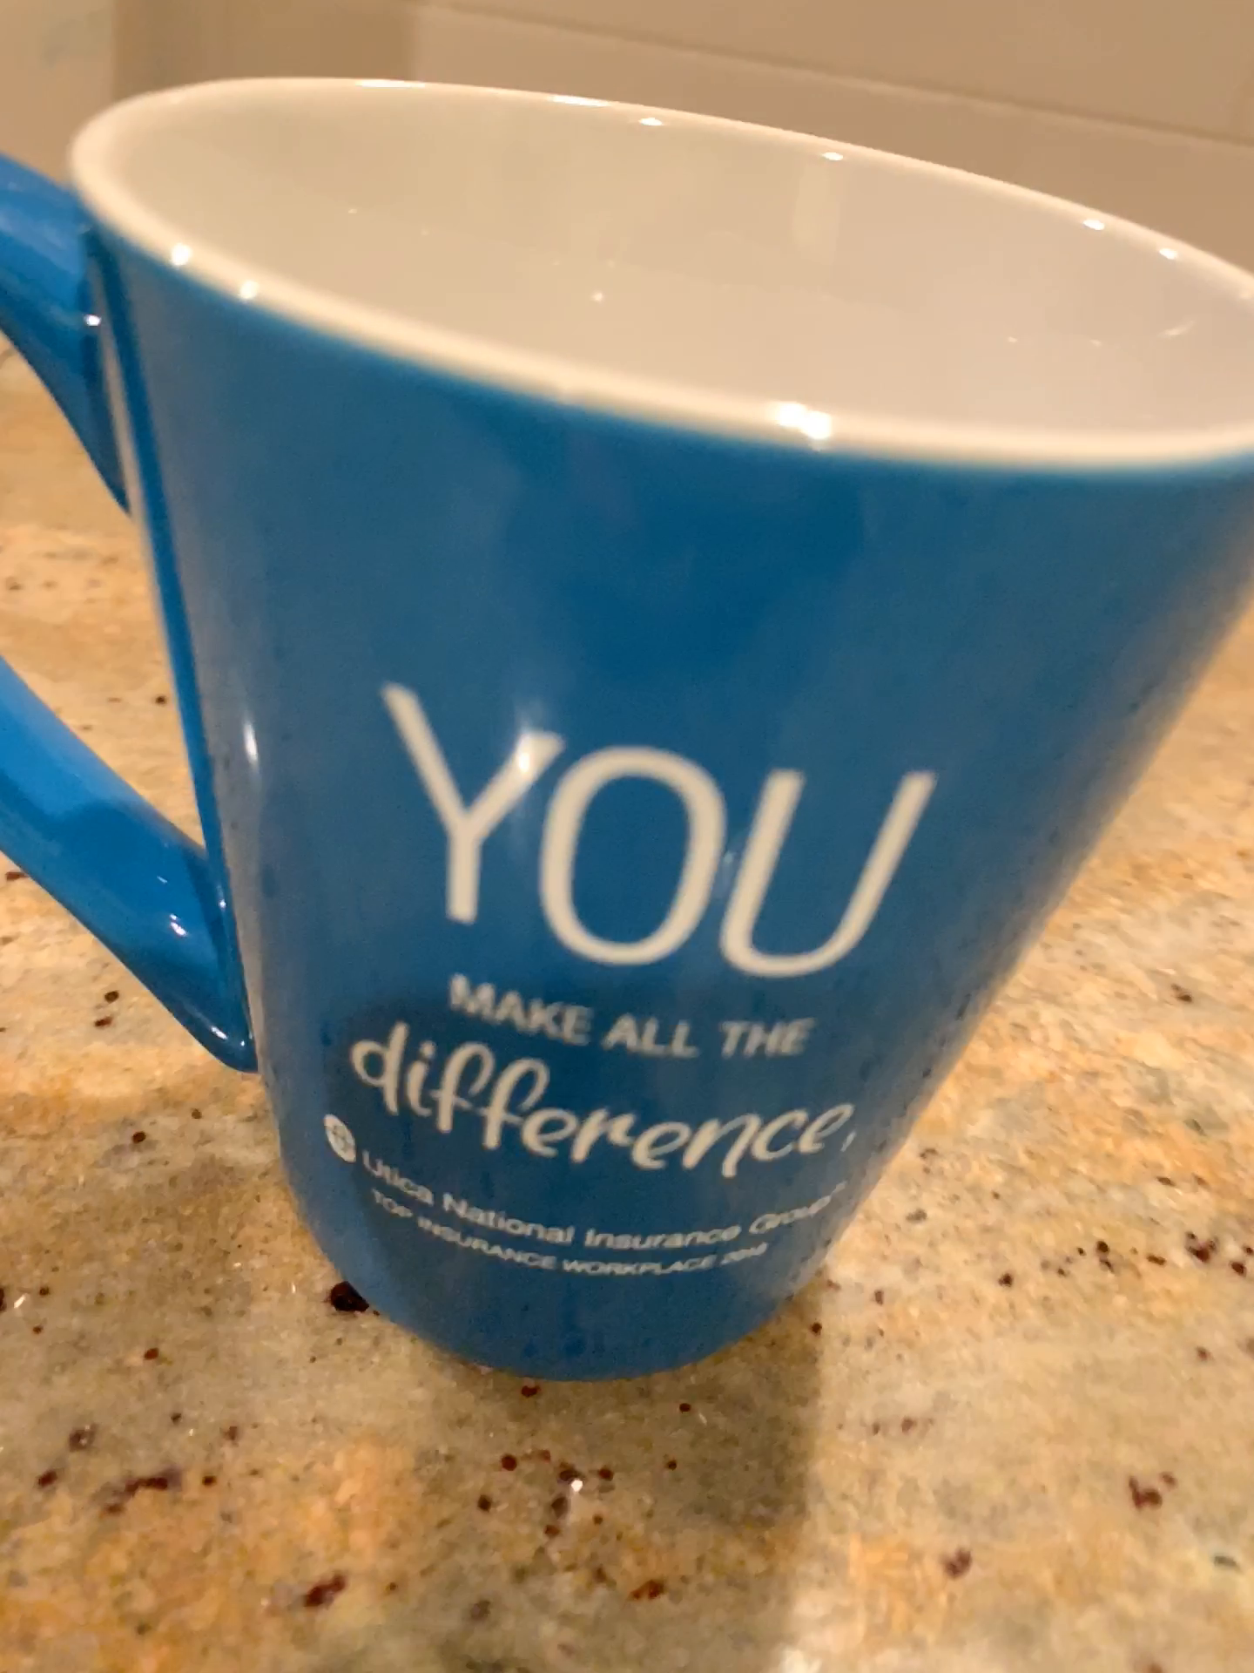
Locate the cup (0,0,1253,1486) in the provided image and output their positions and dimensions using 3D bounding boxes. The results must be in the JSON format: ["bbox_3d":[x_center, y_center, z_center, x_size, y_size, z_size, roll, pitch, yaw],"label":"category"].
[{"bbox_3d":[-0.018,-0.012,0.128,0.137,0.098,0.099,3,36,-6],"label":"cup"}]
